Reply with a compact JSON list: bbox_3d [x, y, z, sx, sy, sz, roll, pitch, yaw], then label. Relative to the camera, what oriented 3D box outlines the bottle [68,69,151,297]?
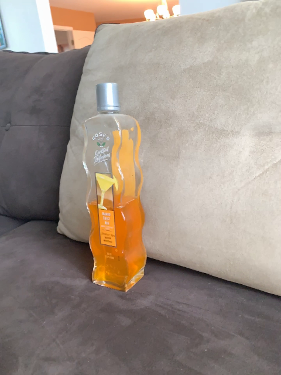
[{"bbox_3d":[-0.041,-0.006,0.427,0.080,0.299,0.080,-1,10,0],"label":"bottle"}]
